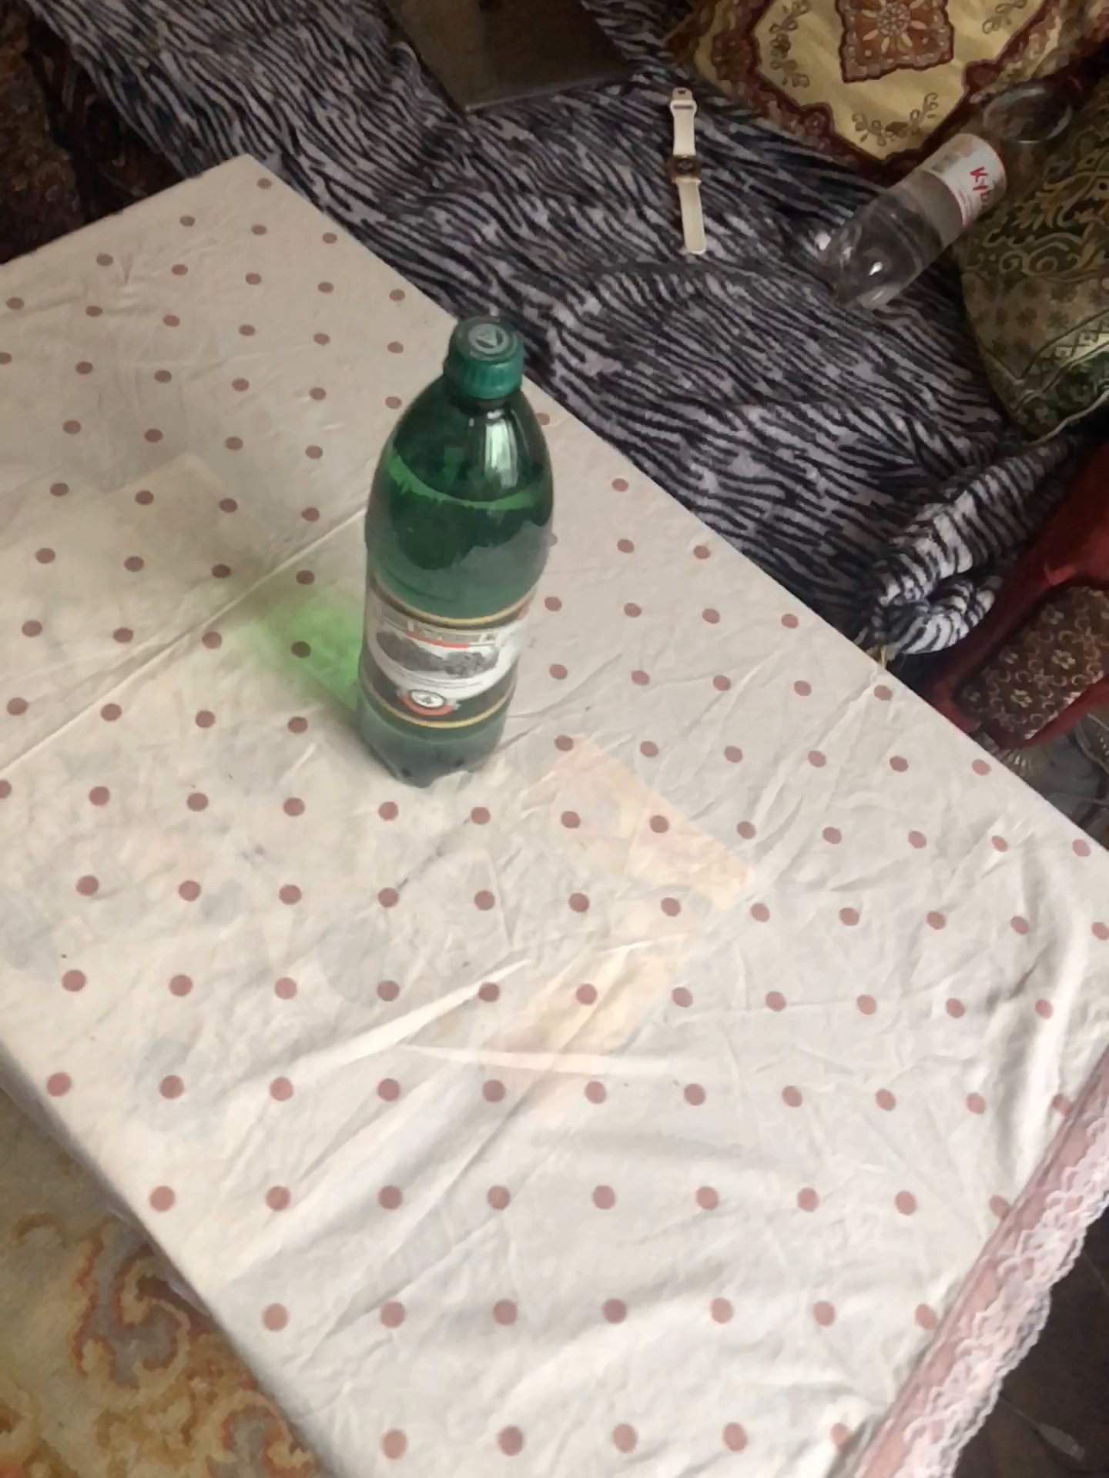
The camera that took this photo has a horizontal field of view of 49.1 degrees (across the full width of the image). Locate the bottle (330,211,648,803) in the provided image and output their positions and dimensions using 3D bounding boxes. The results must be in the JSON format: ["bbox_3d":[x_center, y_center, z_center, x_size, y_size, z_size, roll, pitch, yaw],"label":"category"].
[{"bbox_3d":[-0.043,-0.086,0.574,0.100,0.279,0.100,5,60,-9],"label":"bottle"}]
